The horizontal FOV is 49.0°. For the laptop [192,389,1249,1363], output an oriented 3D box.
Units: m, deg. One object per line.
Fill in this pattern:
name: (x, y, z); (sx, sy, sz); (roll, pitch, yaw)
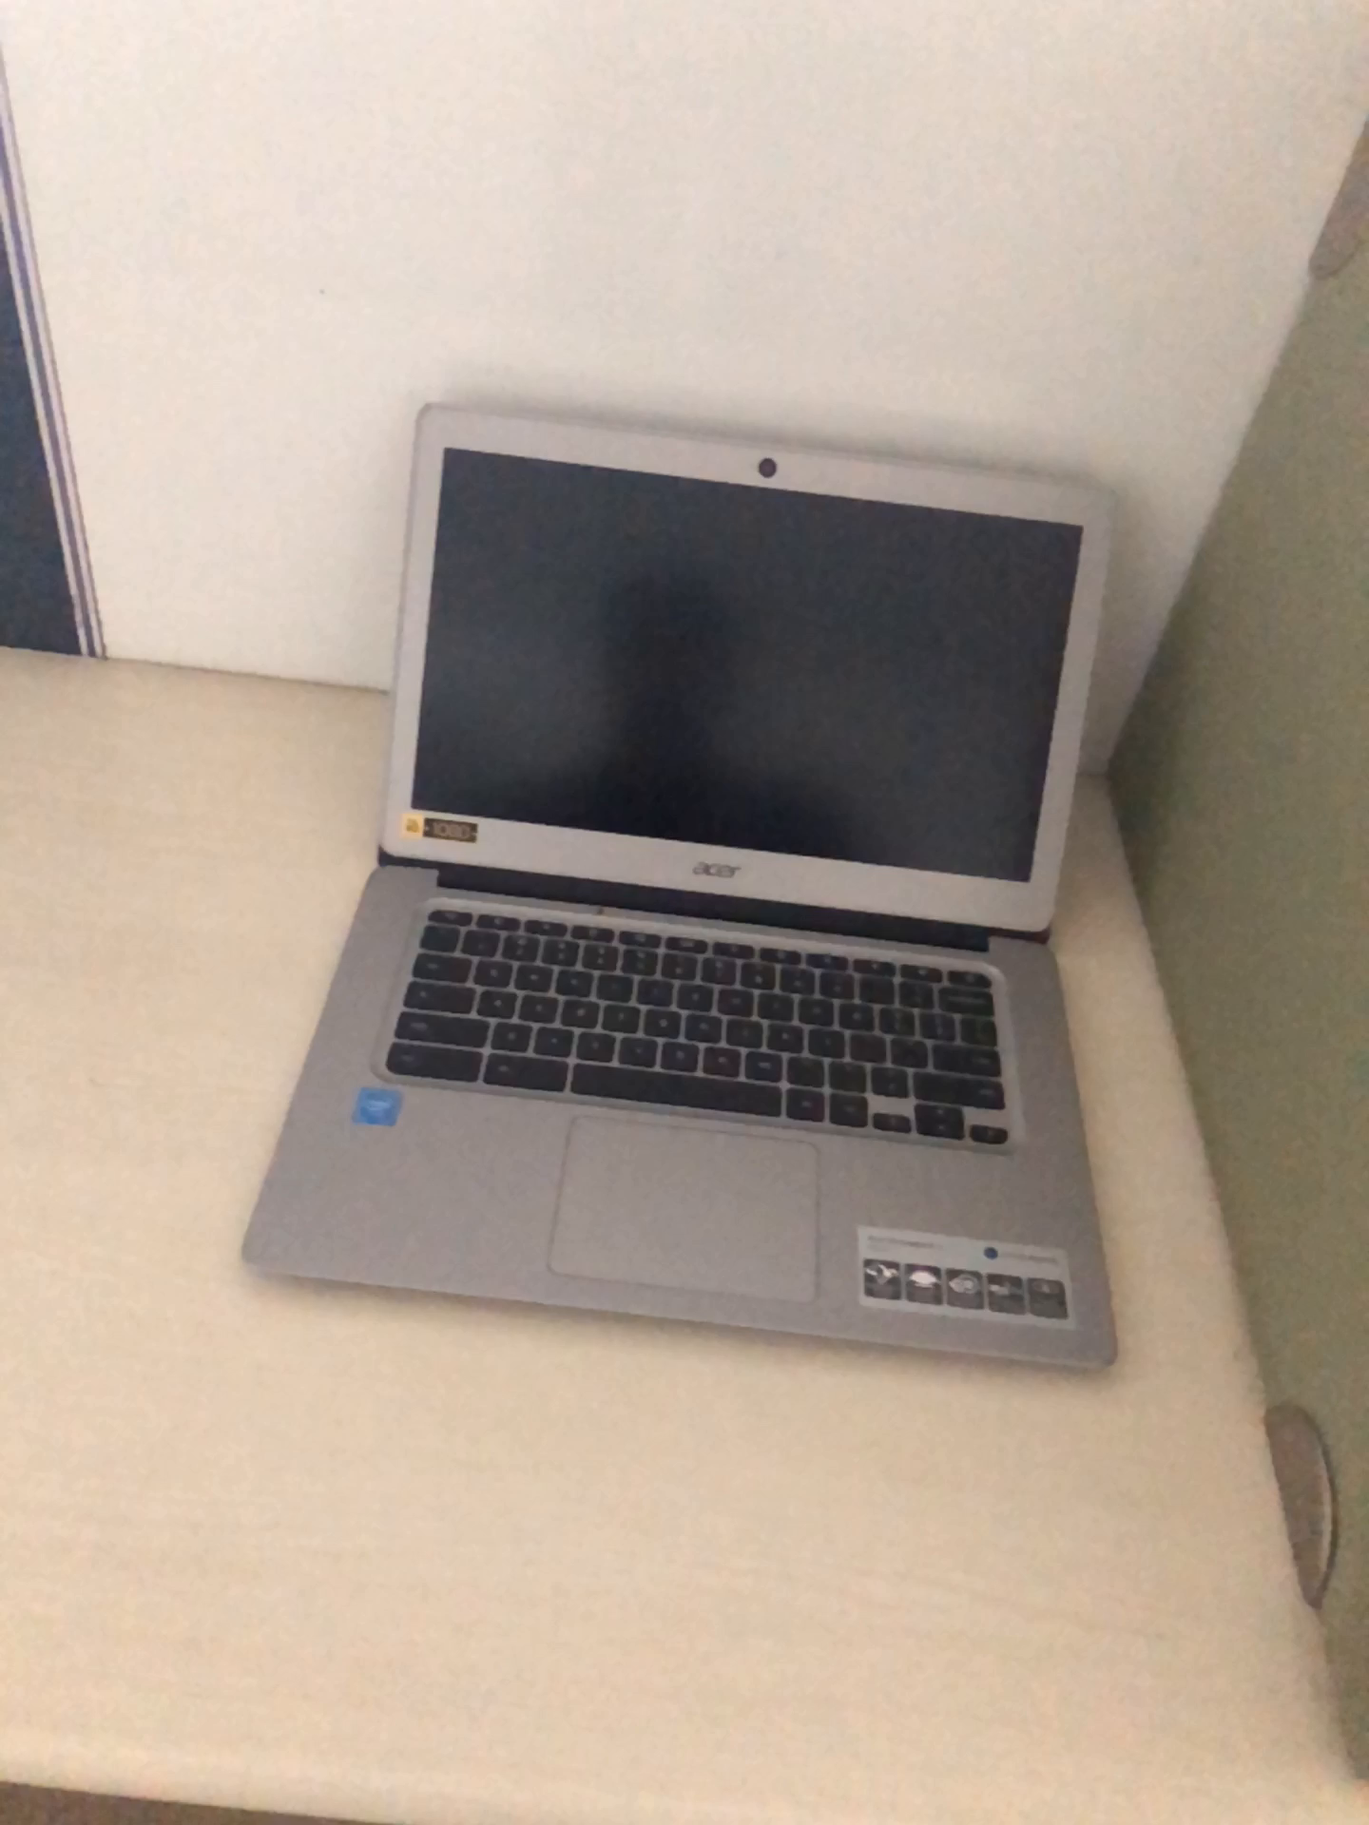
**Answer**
laptop: (0.015, -0.038, 0.642); (0.322, 0.168, 0.368); (7, 44, -2)
